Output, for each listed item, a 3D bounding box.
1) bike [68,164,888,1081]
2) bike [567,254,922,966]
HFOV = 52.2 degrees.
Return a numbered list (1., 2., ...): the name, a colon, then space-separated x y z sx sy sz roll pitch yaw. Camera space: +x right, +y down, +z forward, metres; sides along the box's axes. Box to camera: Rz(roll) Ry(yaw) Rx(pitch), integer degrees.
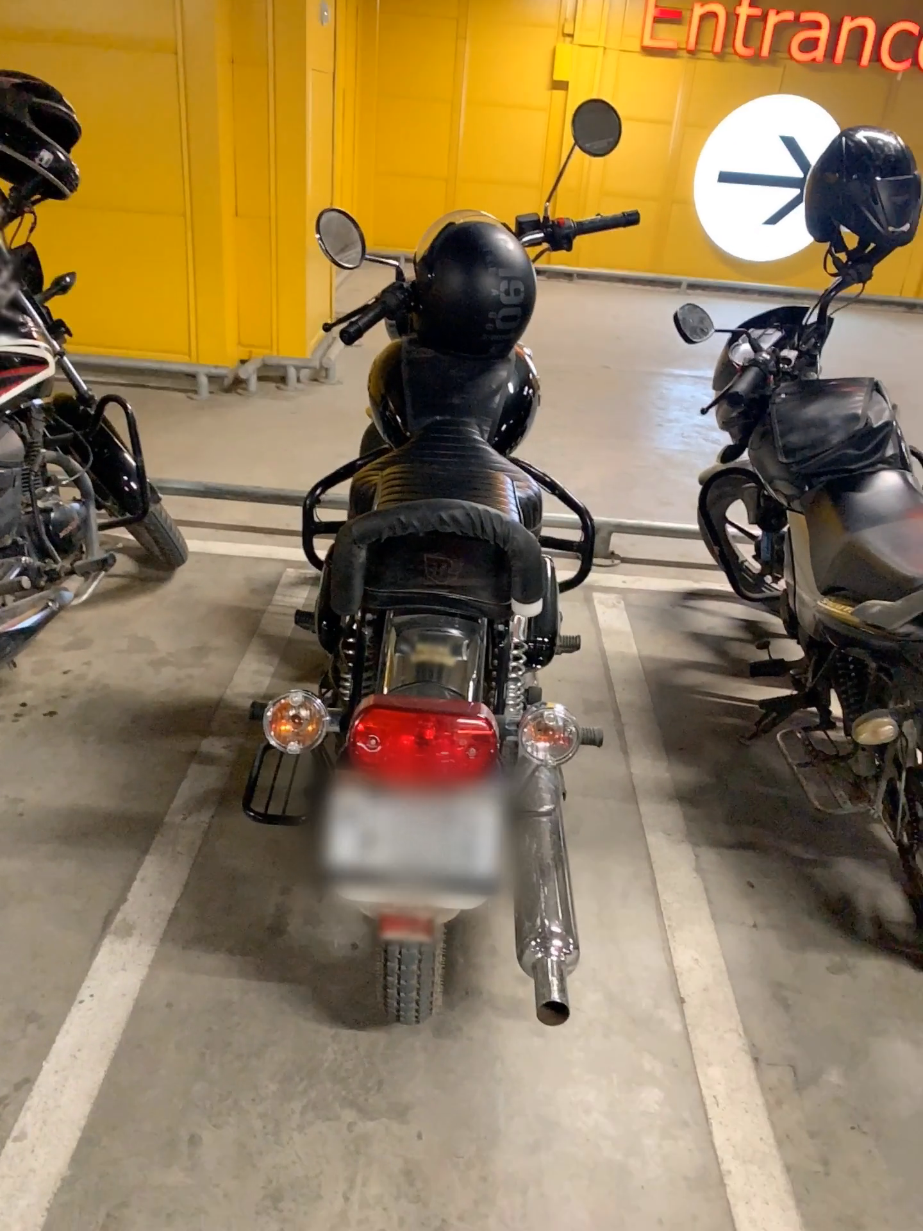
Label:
1. bike: -0.148 -0.265 1.918 0.763 1.050 1.835 1 27 -8
2. bike: 0.707 -0.224 2.092 0.598 0.924 1.728 3 25 -4
